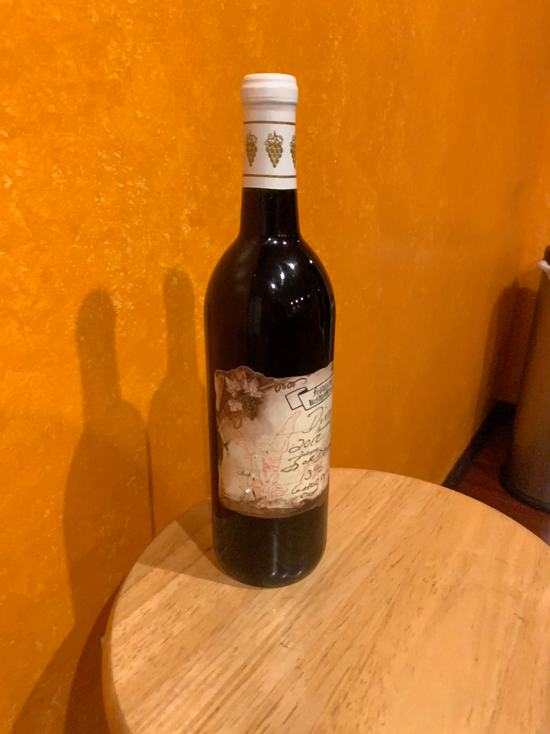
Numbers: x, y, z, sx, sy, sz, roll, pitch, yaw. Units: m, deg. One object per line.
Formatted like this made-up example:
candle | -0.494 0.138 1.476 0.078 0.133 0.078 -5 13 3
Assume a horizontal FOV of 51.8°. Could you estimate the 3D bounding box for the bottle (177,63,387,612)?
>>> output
bottle | 0.002 -0.009 0.332 0.070 0.289 0.080 16 26 32
